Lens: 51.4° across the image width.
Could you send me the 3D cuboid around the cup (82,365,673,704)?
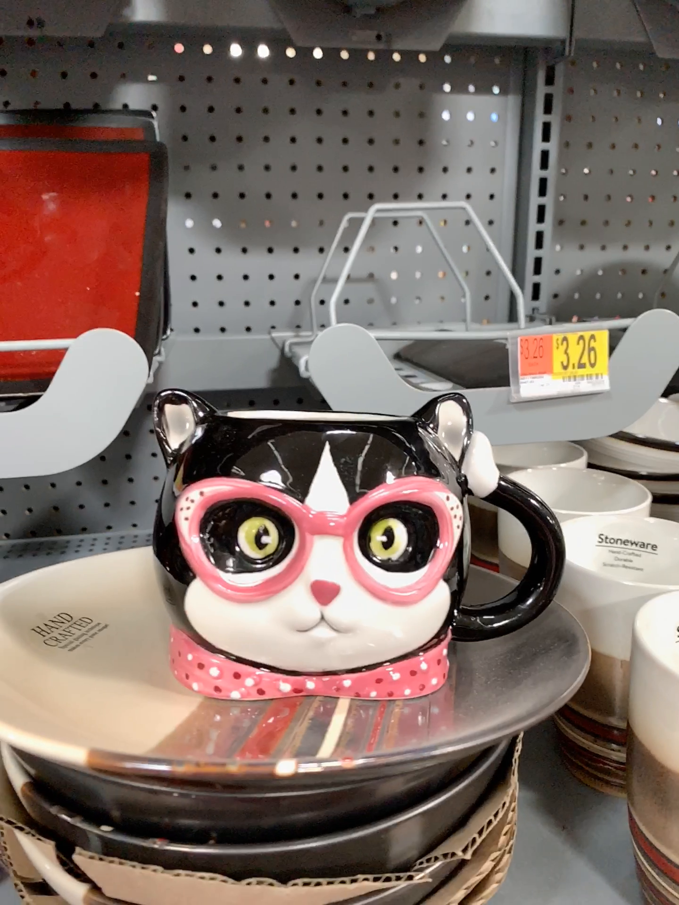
[{"bbox_3d":[0.009,0.017,0.227,0.144,0.074,0.096,-1,15,-3],"label":"cup"}]
